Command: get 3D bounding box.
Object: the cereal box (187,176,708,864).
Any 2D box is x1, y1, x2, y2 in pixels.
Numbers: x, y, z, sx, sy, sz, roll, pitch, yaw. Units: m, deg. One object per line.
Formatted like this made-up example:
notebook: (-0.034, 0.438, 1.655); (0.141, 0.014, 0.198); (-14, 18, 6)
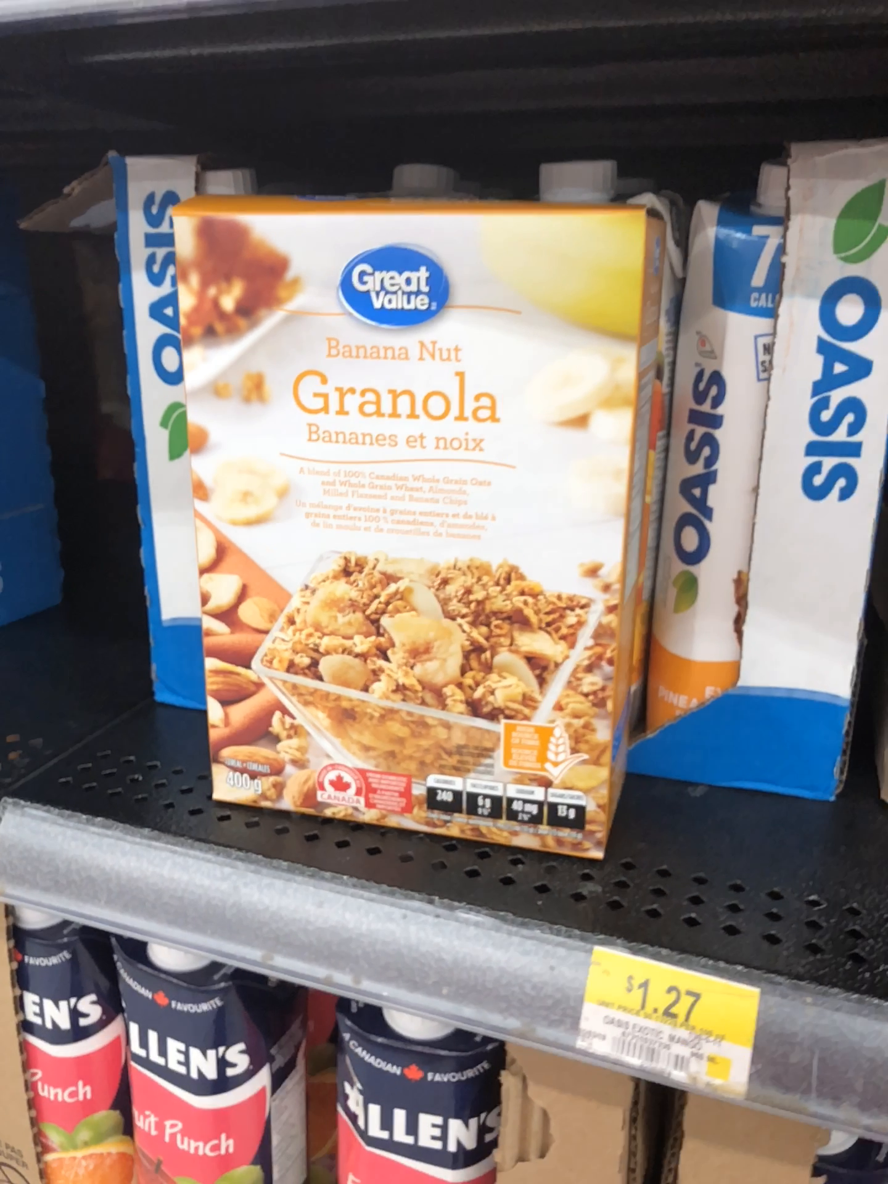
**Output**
cereal box: (0.001, -0.027, 0.357); (0.160, 0.219, 0.060); (5, 17, 14)
